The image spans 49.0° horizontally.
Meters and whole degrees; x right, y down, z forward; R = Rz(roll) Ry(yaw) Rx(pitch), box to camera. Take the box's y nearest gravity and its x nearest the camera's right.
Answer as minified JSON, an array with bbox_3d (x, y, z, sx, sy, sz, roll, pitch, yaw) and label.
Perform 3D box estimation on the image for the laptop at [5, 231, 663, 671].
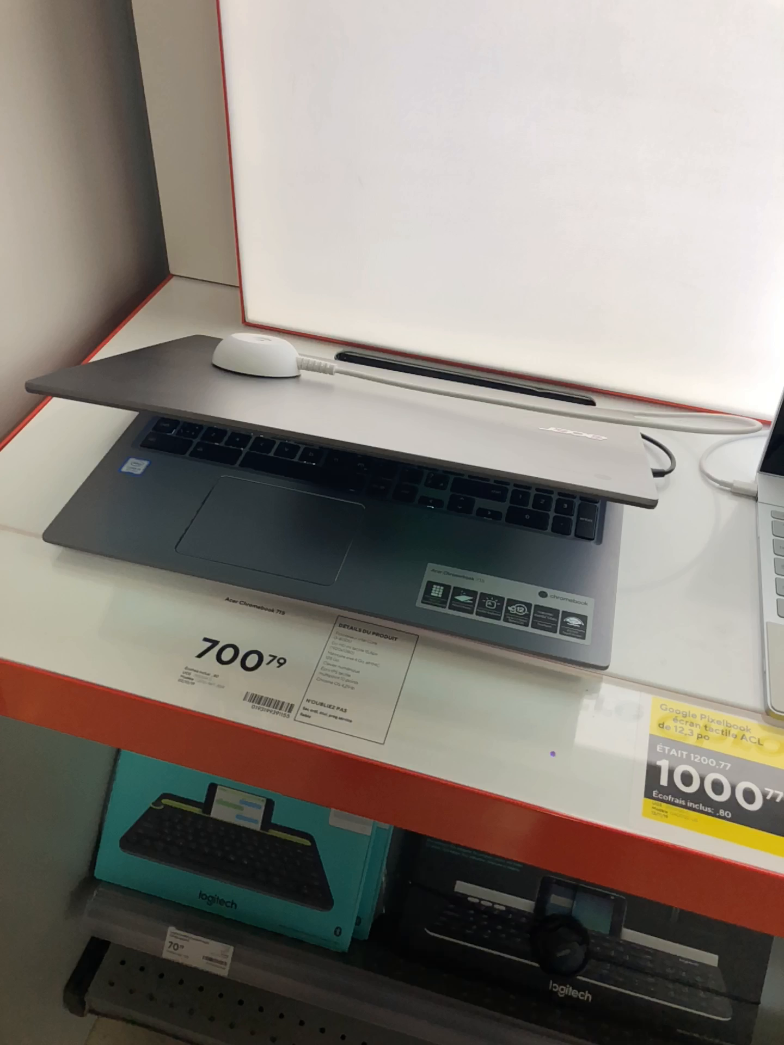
[{"bbox_3d":[-0.016,-0.067,0.571,0.356,0.105,0.237,12,43,8],"label":"laptop"}]
